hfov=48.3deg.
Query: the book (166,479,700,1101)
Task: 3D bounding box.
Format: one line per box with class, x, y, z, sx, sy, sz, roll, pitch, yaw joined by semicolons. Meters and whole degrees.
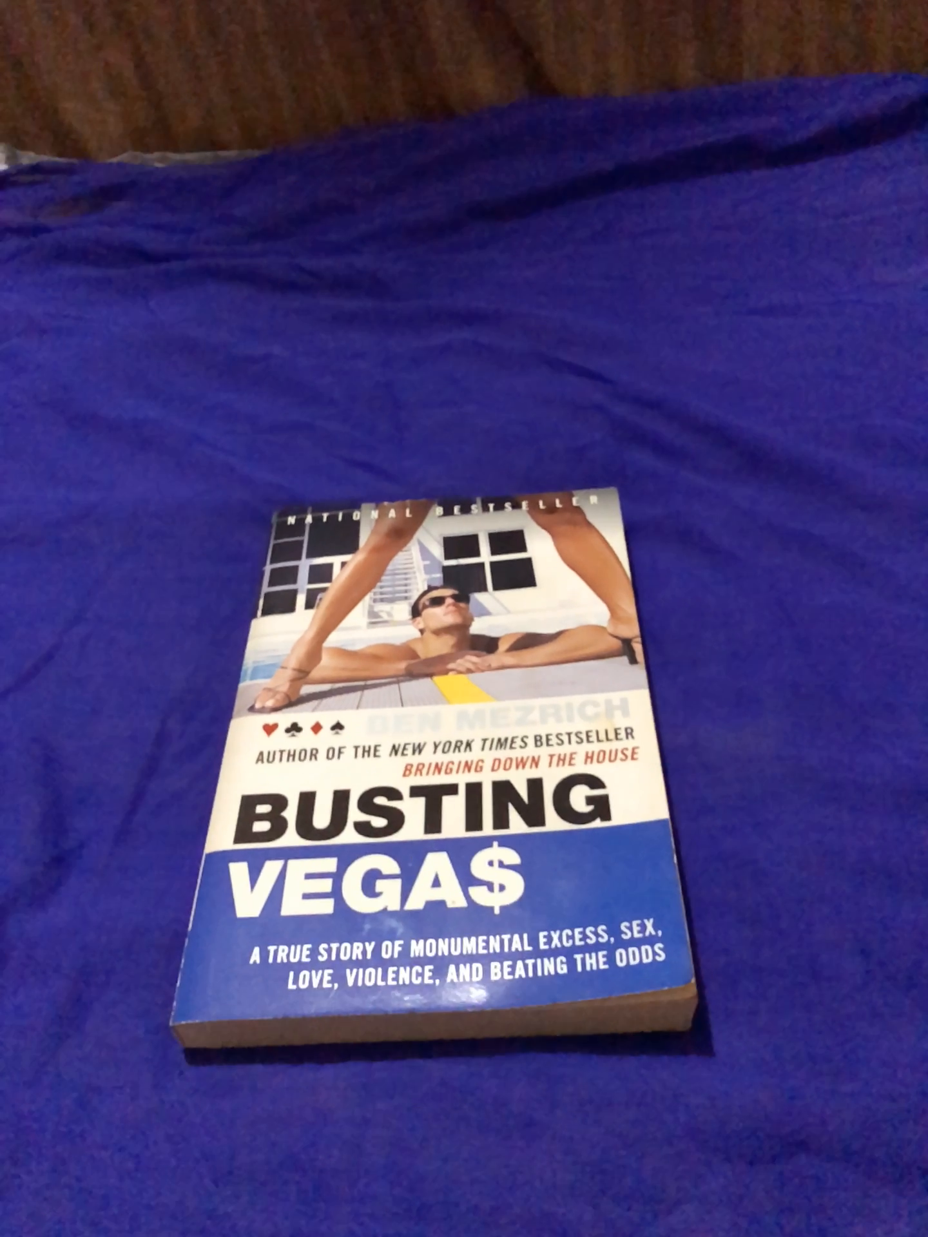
book;-0.007;0.039;0.339;0.130;0.040;0.211;-3;45;3
